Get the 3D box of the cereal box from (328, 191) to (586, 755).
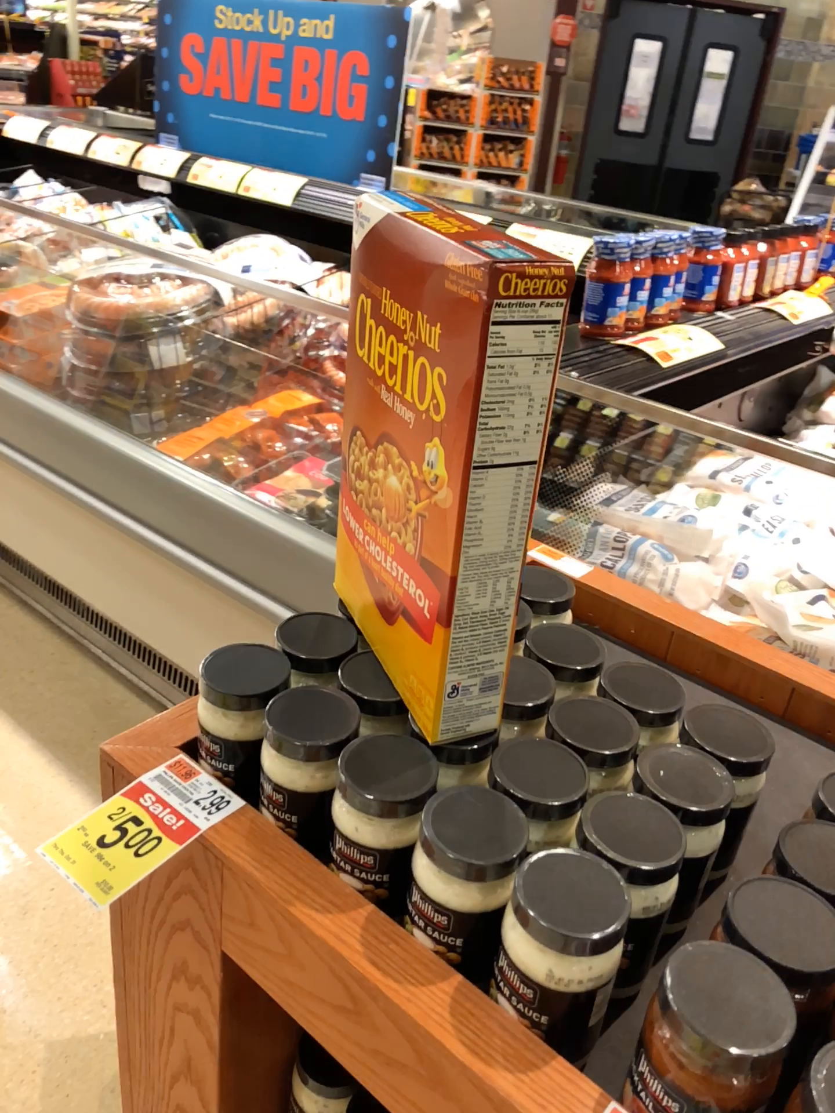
[{"bbox_3d":[0.005,-0.059,0.569,0.050,0.288,0.201,-5,29,-22],"label":"cereal box"}]
